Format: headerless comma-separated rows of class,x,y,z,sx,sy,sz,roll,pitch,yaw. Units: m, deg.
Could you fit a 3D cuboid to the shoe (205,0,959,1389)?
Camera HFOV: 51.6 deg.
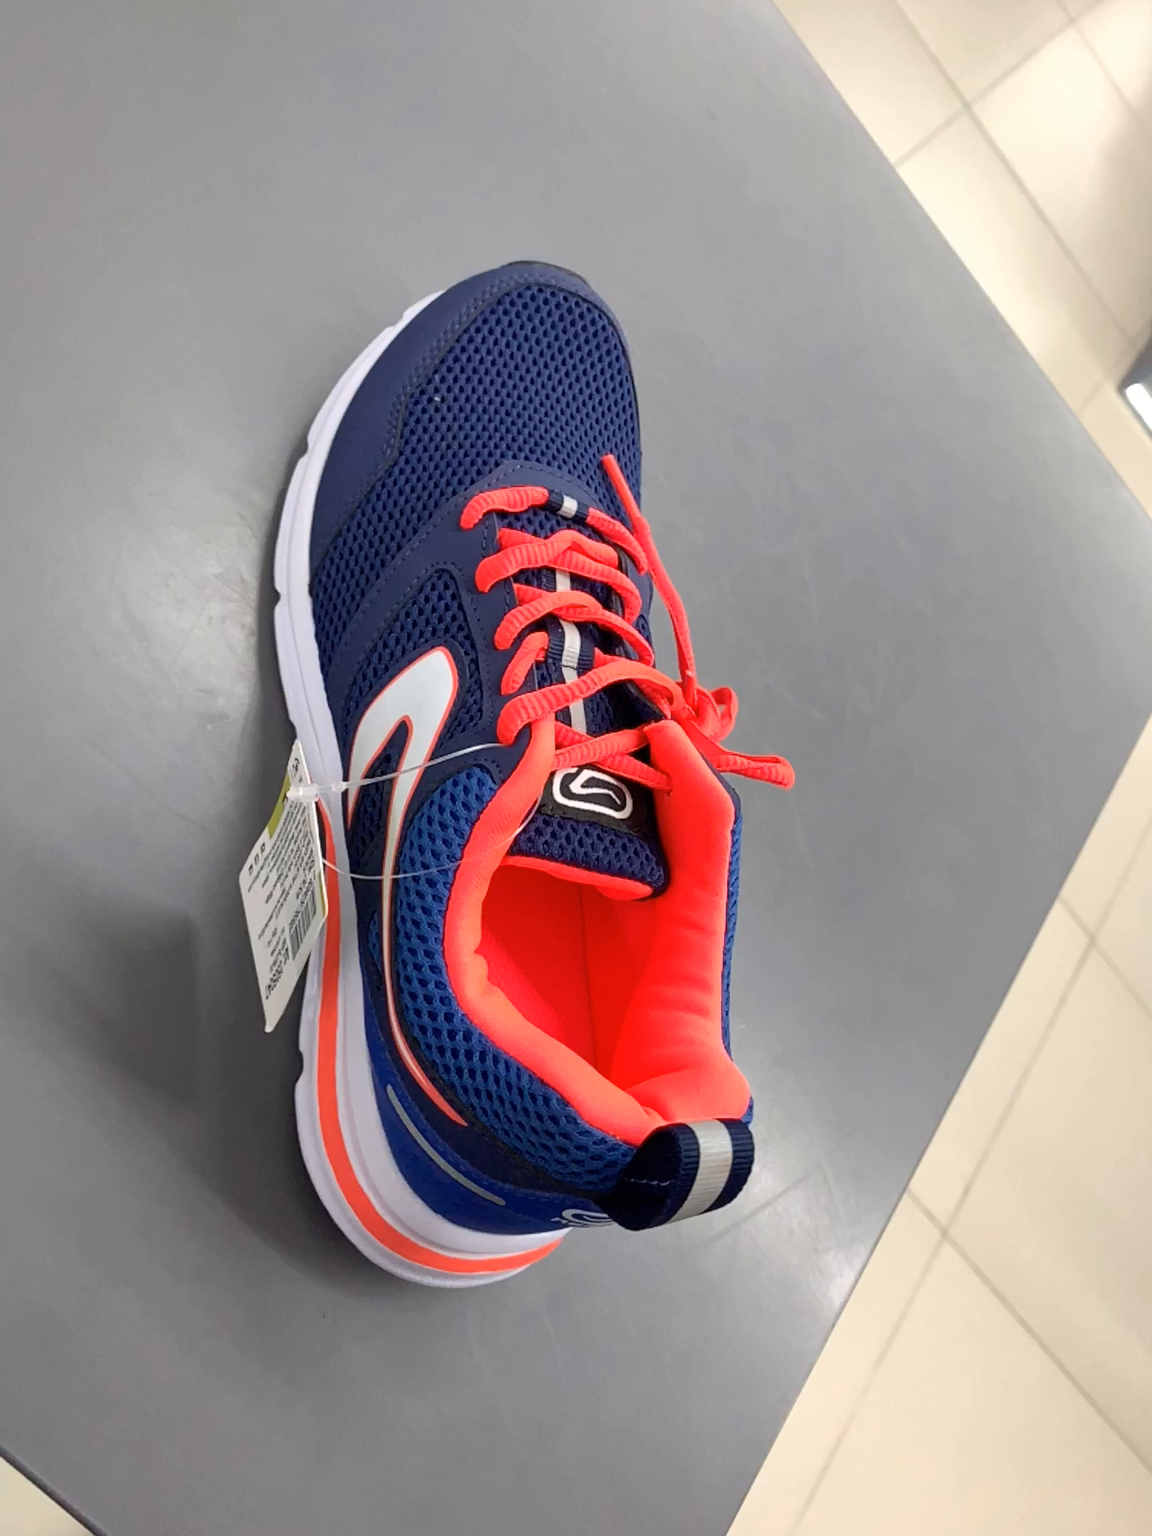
shoe,-0.010,-0.025,0.300,0.110,0.140,0.290,8,72,-29
